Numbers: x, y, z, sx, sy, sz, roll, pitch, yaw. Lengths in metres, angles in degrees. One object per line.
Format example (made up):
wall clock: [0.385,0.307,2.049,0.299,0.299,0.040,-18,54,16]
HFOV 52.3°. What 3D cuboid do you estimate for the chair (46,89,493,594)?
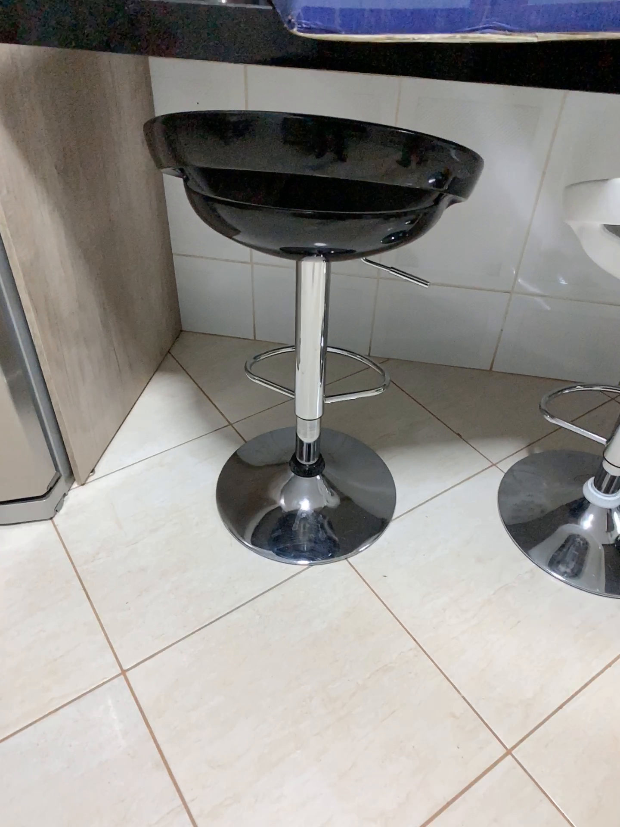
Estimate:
chair: [-0.033,-0.132,1.227,0.570,0.753,0.515,7,40,6]

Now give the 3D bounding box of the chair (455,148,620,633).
chair: [0.561,-0.030,1.060,0.510,0.634,0.414,7,40,6]
